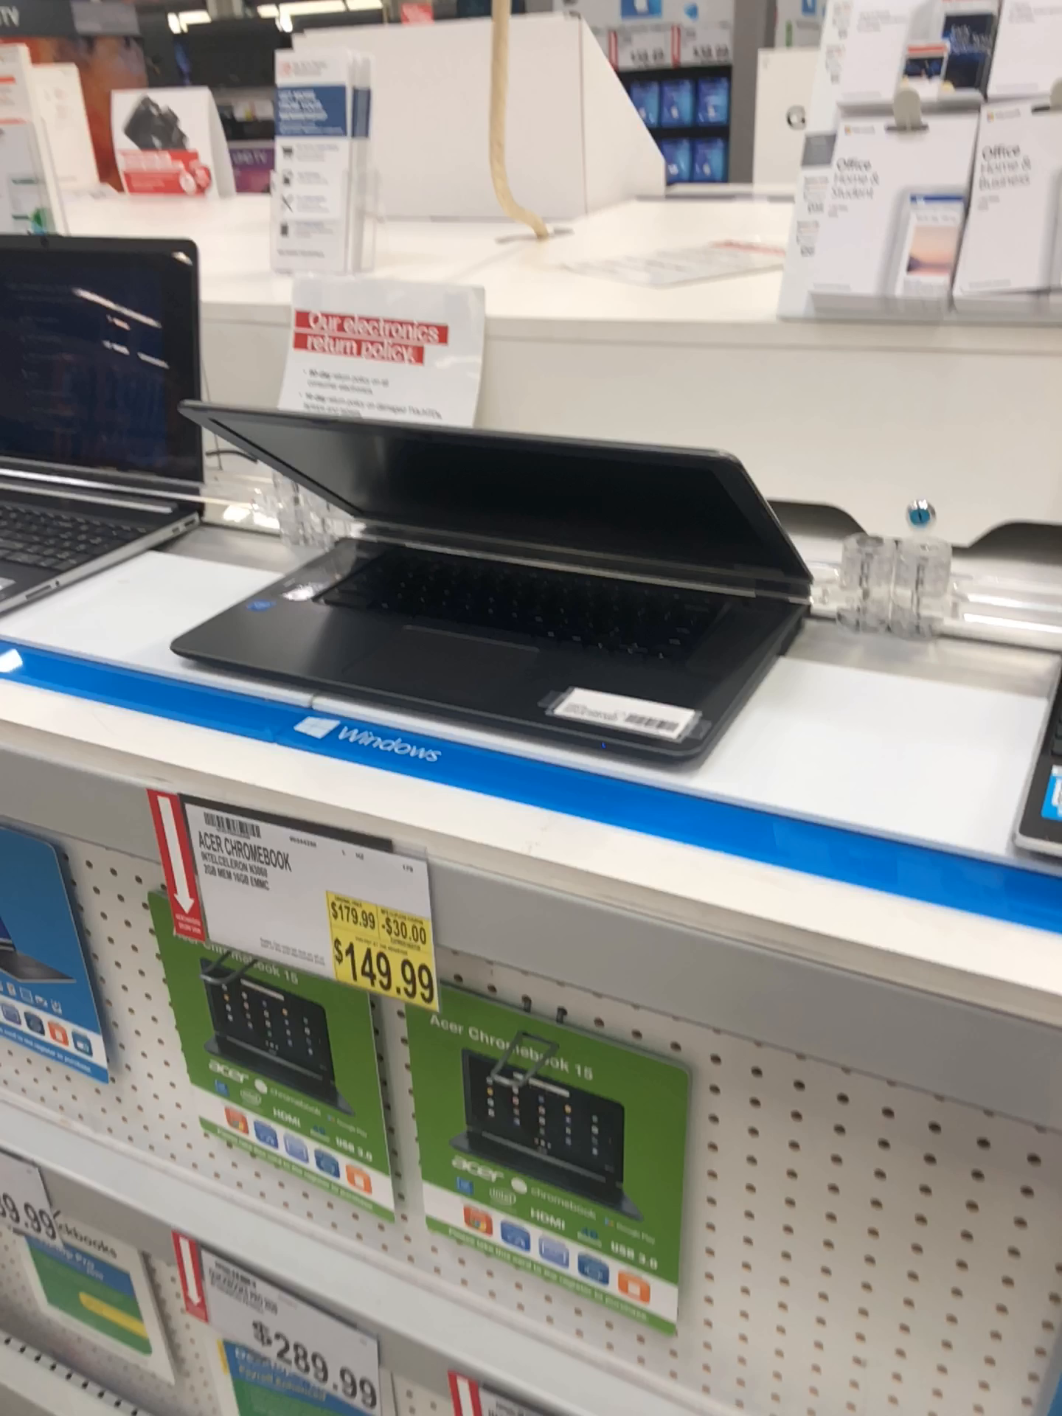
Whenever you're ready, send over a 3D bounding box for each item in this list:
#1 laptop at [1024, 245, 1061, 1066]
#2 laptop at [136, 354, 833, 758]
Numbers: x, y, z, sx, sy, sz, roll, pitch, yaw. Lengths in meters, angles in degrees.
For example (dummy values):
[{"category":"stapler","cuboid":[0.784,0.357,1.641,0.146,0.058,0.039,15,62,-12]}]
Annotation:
[{"category":"laptop","cuboid":[0.439,-0.065,0.507,0.317,0.208,0.292,13,32,31]},{"category":"laptop","cuboid":[-0.026,-0.120,0.738,0.365,0.136,0.220,12,33,27]}]
